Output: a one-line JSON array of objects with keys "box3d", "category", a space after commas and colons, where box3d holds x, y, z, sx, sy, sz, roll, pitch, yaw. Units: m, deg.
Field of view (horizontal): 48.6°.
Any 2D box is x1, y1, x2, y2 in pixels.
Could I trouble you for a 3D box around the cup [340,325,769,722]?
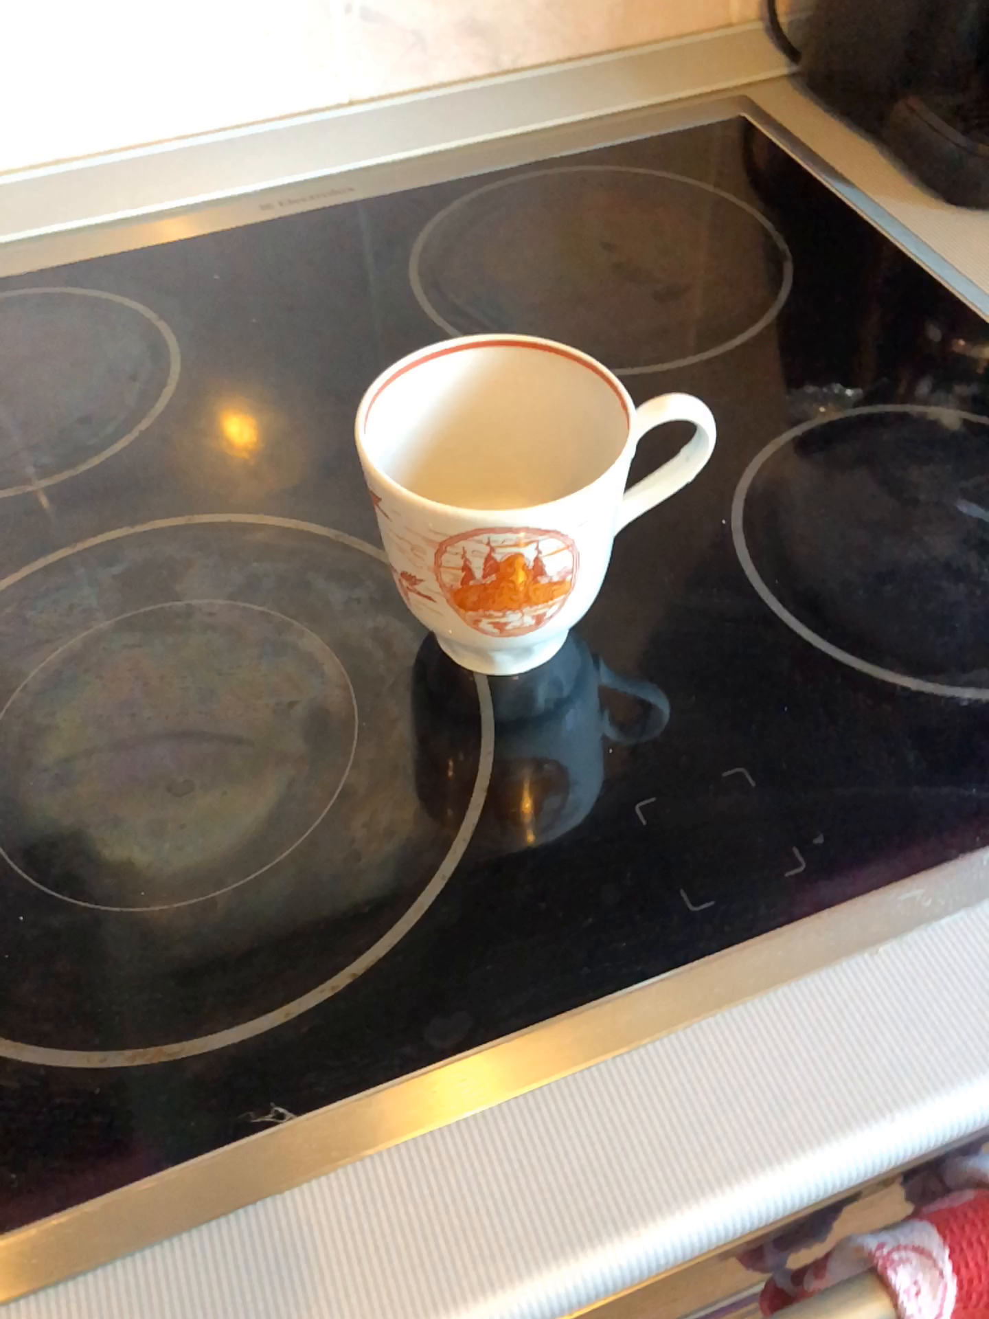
[{"box3d": [0.016, -0.045, 0.369, 0.120, 0.090, 0.090, -3, 50, -1], "category": "cup"}]
